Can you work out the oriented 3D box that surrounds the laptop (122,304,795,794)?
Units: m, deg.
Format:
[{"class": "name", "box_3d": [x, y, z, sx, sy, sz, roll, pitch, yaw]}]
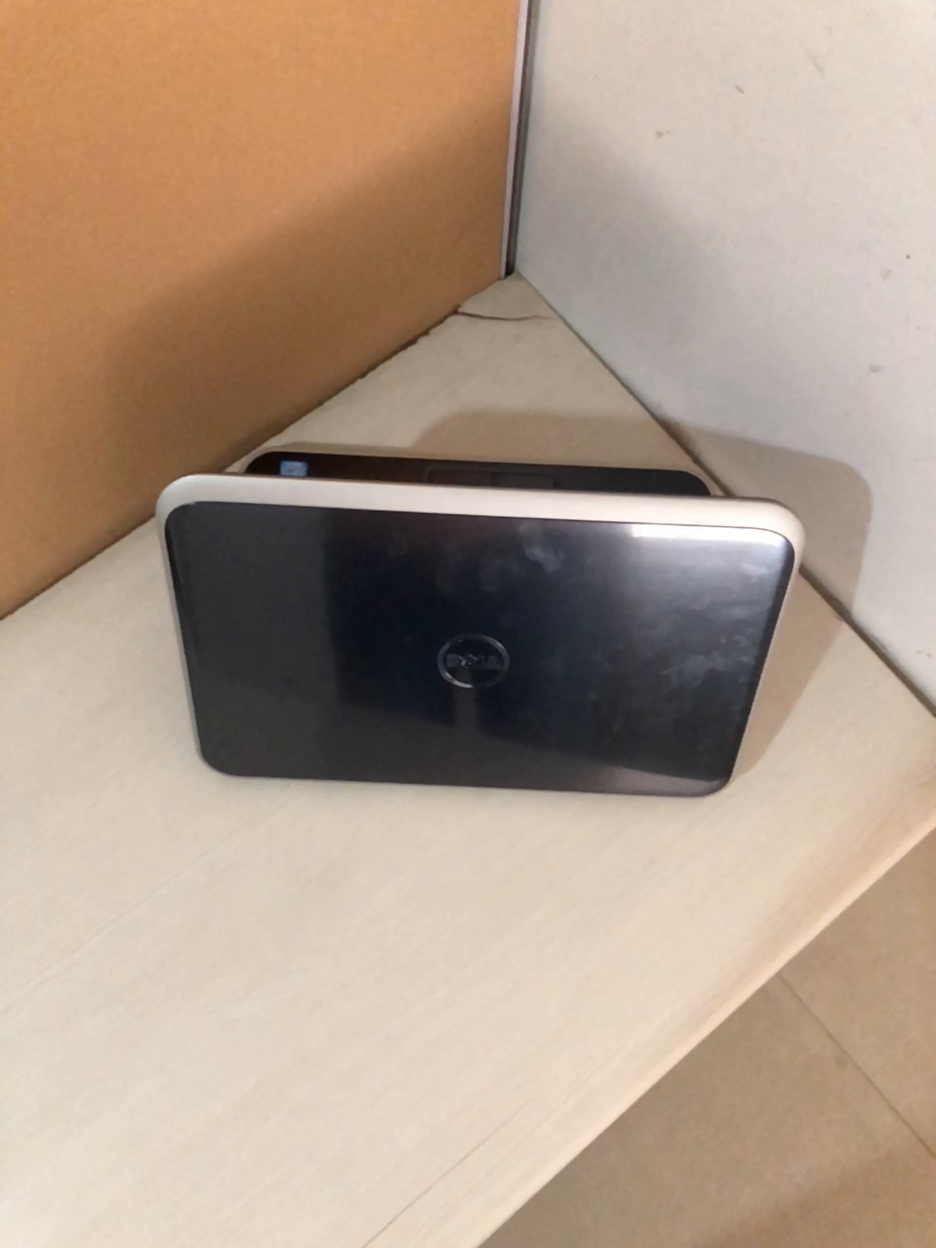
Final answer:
[{"class": "laptop", "box_3d": [0.003, -0.033, 0.661, 0.347, 0.193, 0.240, 3, 72, -2]}]
